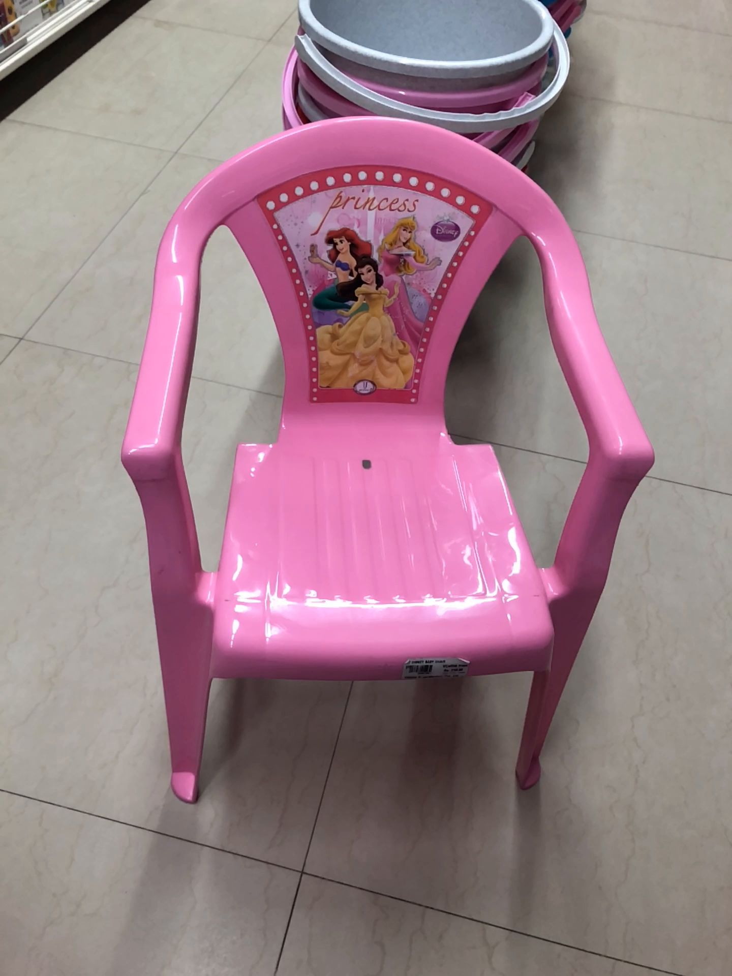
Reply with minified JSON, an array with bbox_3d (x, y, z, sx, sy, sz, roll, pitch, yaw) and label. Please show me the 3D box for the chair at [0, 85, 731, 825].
[{"bbox_3d":[0.001,0.001,0.654,0.370,0.477,0.352,-1,49,-5],"label":"chair"}]
